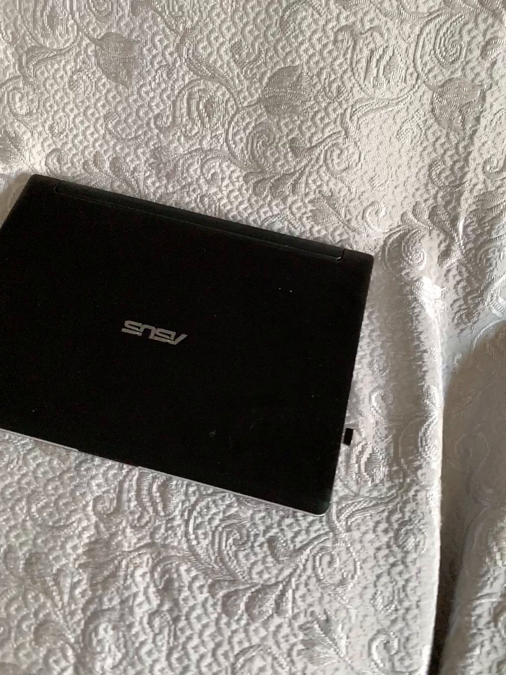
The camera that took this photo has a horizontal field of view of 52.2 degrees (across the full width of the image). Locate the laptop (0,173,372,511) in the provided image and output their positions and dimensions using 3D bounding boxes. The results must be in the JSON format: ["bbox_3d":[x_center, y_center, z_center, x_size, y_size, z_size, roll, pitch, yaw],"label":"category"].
[{"bbox_3d":[-0.079,-0.014,0.440,0.333,0.001,0.232,15,65,2],"label":"laptop"}]
